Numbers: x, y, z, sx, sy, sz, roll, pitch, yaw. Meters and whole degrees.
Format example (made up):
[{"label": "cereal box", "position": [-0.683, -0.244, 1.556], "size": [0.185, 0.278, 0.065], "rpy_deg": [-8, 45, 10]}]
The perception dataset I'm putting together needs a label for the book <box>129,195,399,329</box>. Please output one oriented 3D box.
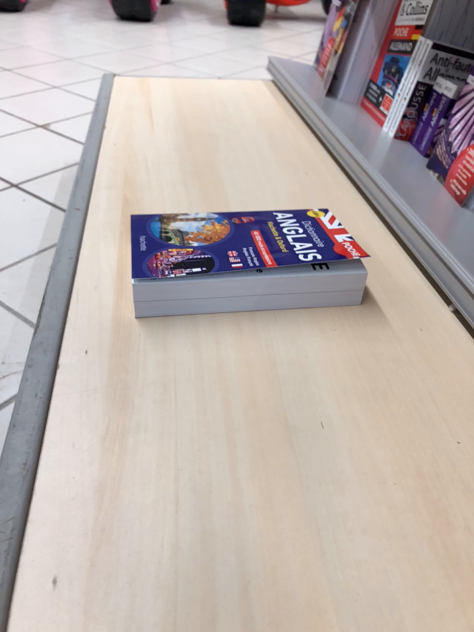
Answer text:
[{"label": "book", "position": [0.012, -0.049, 0.415], "size": [0.187, 0.040, 0.119], "rpy_deg": [-4, 38, -9]}]
